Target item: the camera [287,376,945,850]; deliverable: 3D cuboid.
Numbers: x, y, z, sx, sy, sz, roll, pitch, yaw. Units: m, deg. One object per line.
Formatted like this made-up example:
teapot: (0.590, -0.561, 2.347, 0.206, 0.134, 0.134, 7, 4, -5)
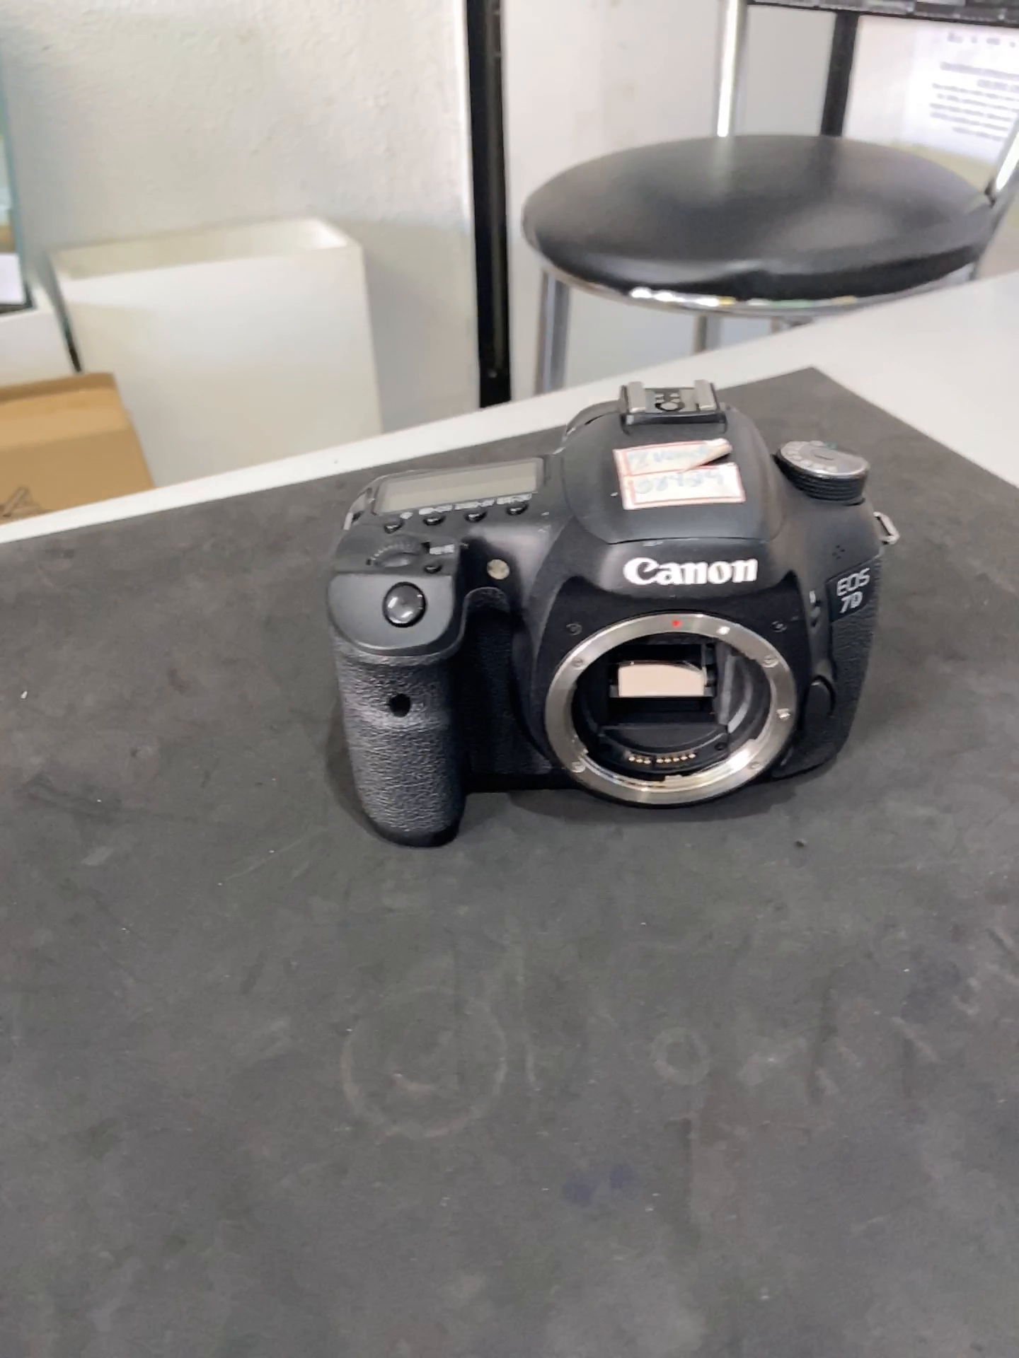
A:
camera: (0.025, -0.020, 0.307, 0.152, 0.101, 0.083, -3, 37, 0)
